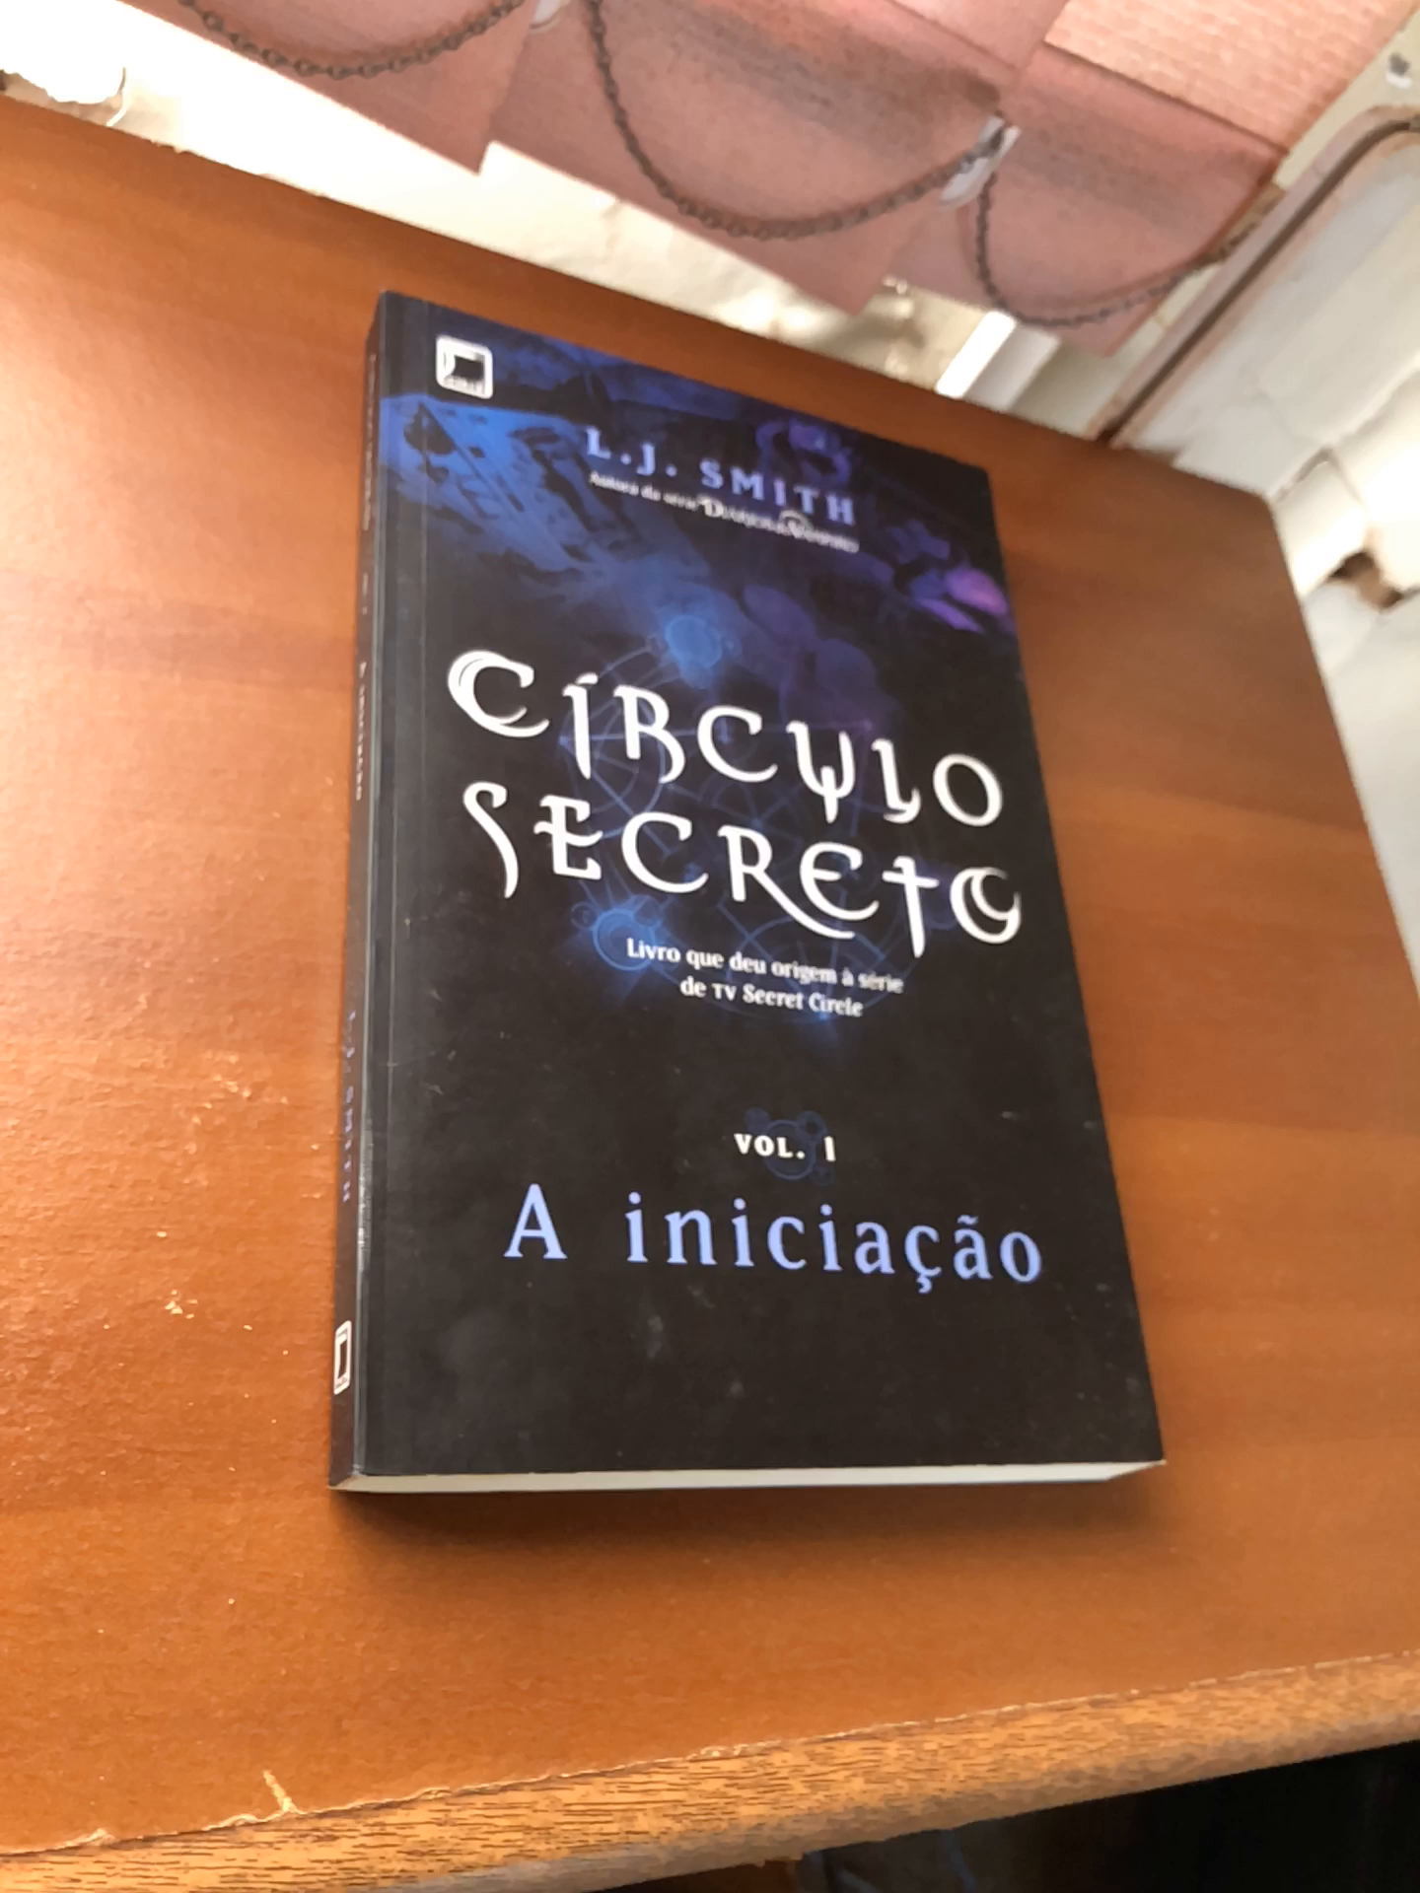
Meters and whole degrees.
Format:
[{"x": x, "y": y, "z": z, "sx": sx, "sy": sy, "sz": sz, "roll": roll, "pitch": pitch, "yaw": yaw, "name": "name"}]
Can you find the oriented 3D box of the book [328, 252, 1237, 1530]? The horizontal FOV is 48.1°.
[{"x": 0.008, "y": -0.015, "z": 0.280, "sx": 0.140, "sy": 0.024, "sz": 0.214, "roll": 8, "pitch": 61, "yaw": -26, "name": "book"}]
